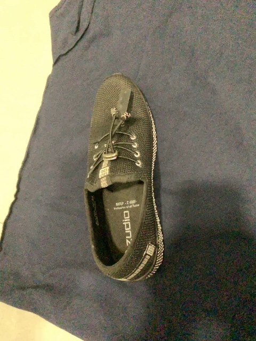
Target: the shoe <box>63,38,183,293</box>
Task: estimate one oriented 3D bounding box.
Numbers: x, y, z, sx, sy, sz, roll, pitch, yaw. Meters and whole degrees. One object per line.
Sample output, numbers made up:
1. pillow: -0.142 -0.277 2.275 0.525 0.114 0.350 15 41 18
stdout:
1. shoe: -0.008 -0.005 0.350 0.100 0.090 0.290 -11 77 22
